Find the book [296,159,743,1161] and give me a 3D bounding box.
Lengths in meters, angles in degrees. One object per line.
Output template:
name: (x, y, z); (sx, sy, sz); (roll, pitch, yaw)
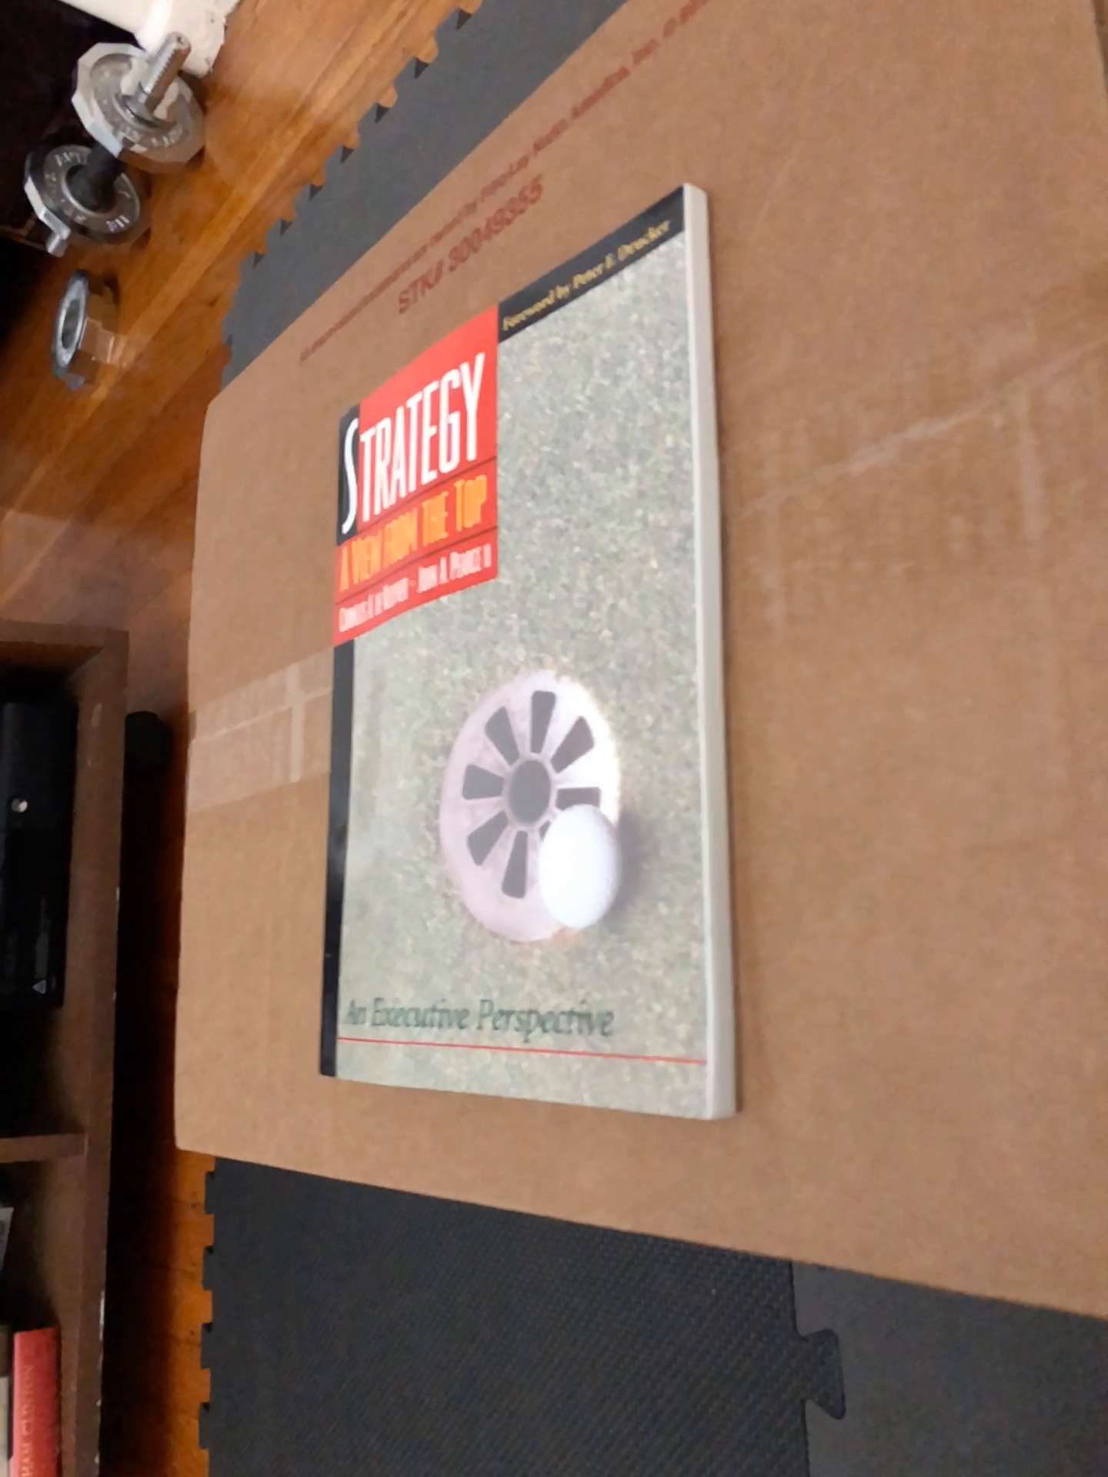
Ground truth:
book: (-0.022, -0.013, 0.359); (0.181, 0.020, 0.240); (-14, 73, 51)
